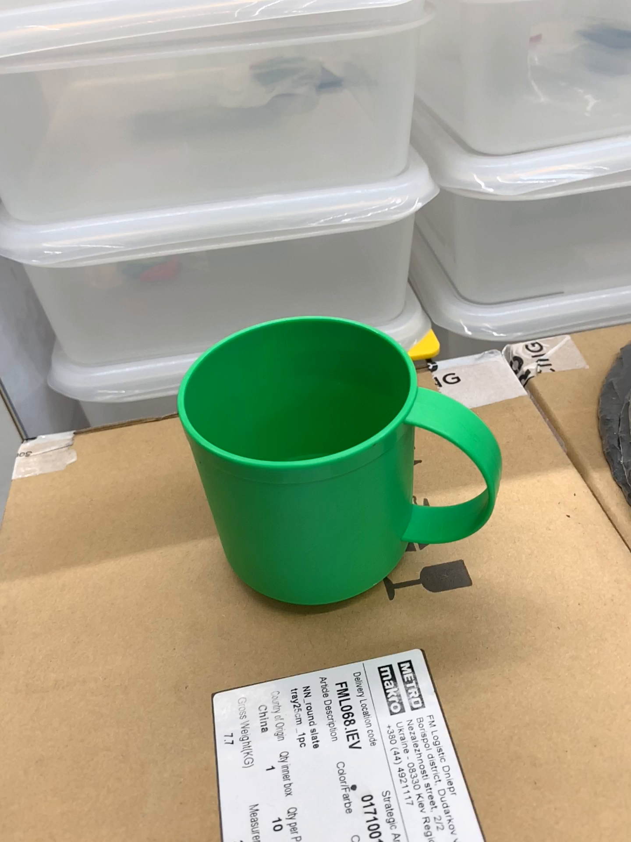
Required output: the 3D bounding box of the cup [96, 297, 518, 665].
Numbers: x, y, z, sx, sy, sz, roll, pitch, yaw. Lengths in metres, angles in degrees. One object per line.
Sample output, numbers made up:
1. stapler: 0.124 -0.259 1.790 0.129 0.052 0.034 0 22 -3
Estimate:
1. cup: 0.004 0.014 0.215 0.105 0.069 0.076 10 43 19
